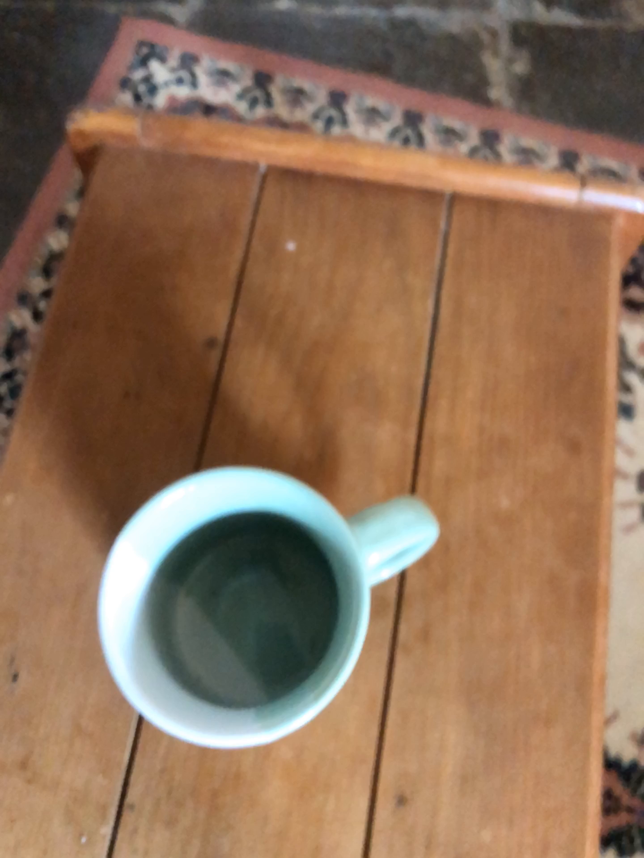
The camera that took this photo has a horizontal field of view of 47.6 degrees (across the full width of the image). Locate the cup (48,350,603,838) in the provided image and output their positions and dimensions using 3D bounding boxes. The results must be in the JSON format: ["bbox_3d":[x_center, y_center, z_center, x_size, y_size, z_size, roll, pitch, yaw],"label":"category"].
[{"bbox_3d":[0.000,0.052,0.243,0.130,0.090,0.080,-26,74,-8],"label":"cup"}]
